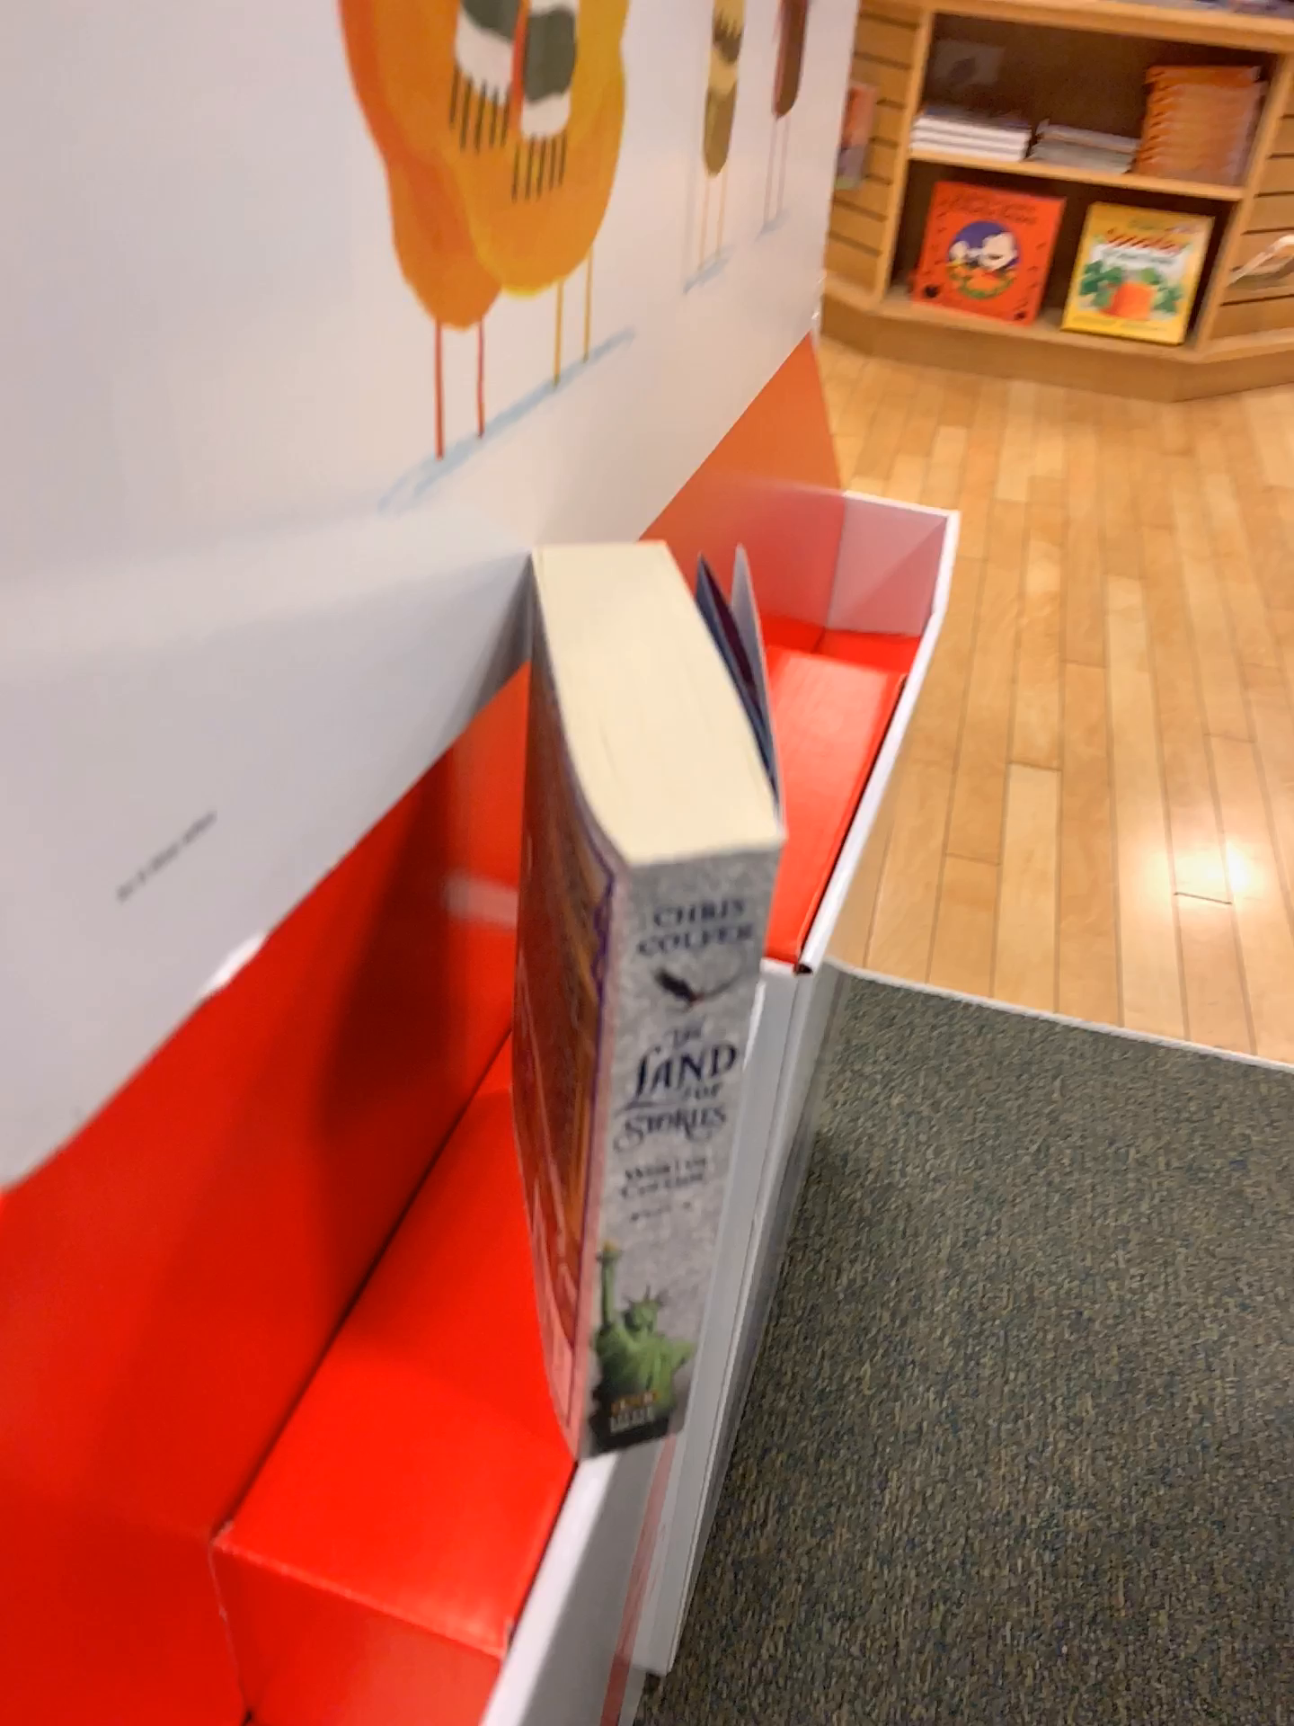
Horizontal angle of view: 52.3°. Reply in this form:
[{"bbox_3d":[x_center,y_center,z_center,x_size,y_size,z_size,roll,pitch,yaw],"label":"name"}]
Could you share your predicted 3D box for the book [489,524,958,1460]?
[{"bbox_3d":[0.002,0.033,0.334,0.065,0.193,0.130,-5,39,-13],"label":"book"}]
